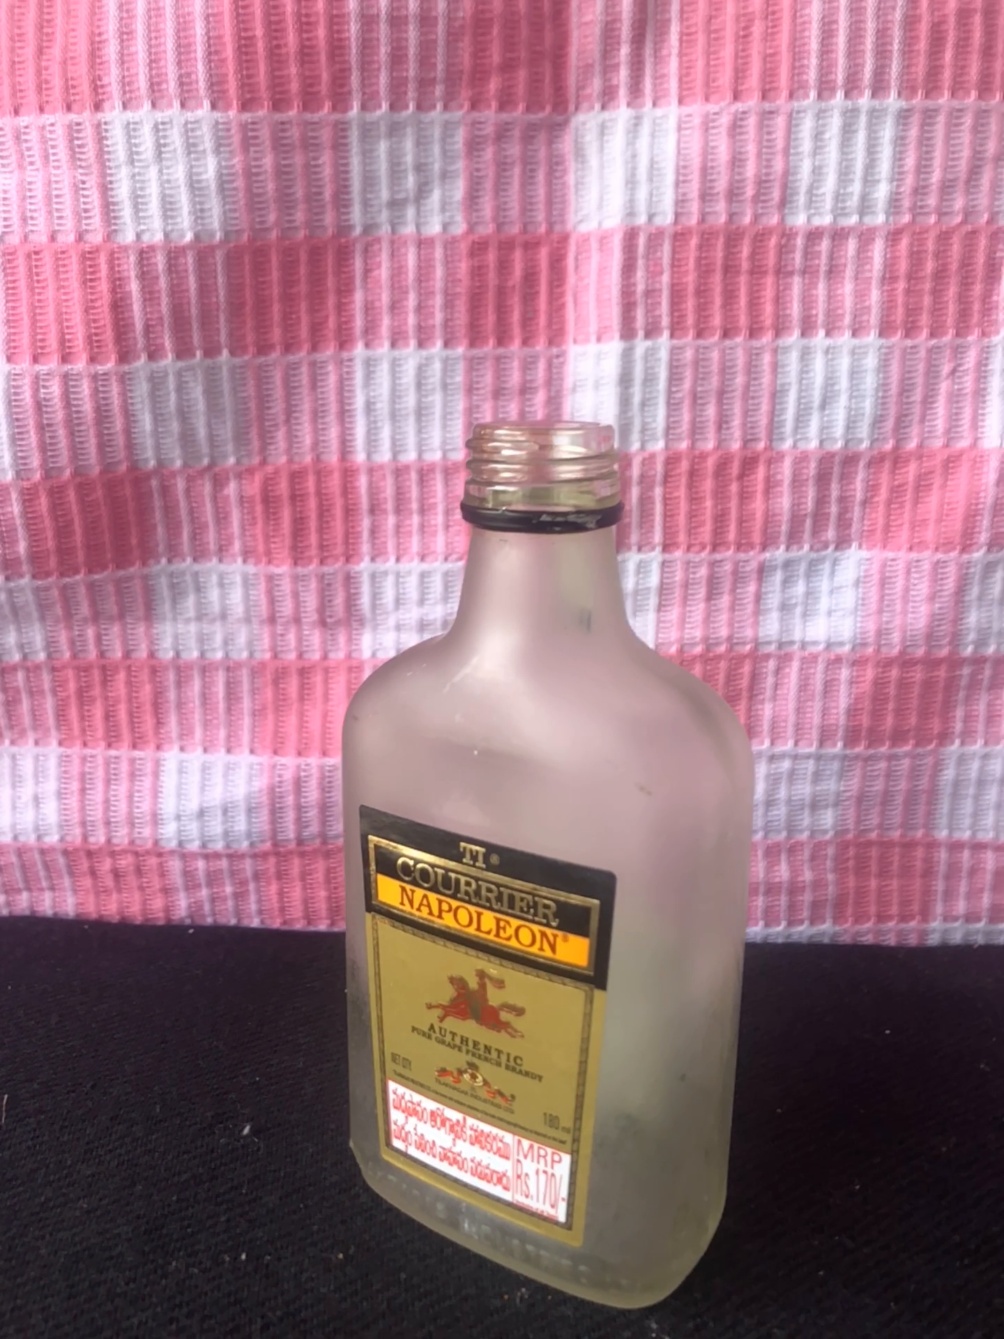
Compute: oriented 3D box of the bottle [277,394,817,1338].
[{"bbox_3d":[0.004,0.033,0.189,0.070,0.149,0.040,11,19,28],"label":"bottle"}]
